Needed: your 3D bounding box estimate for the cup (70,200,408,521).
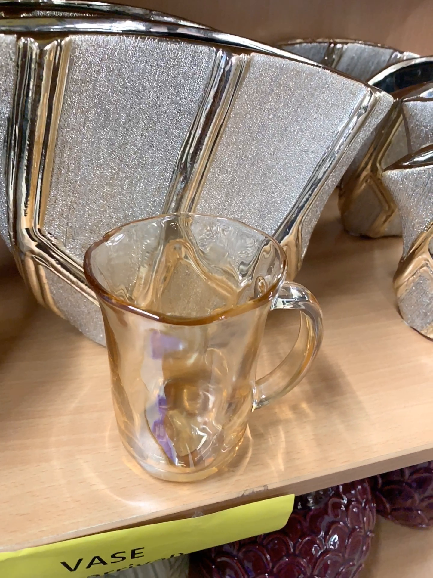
[{"bbox_3d":[-0.001,0.027,0.201,0.110,0.100,0.080,-6,37,-13],"label":"cup"}]
